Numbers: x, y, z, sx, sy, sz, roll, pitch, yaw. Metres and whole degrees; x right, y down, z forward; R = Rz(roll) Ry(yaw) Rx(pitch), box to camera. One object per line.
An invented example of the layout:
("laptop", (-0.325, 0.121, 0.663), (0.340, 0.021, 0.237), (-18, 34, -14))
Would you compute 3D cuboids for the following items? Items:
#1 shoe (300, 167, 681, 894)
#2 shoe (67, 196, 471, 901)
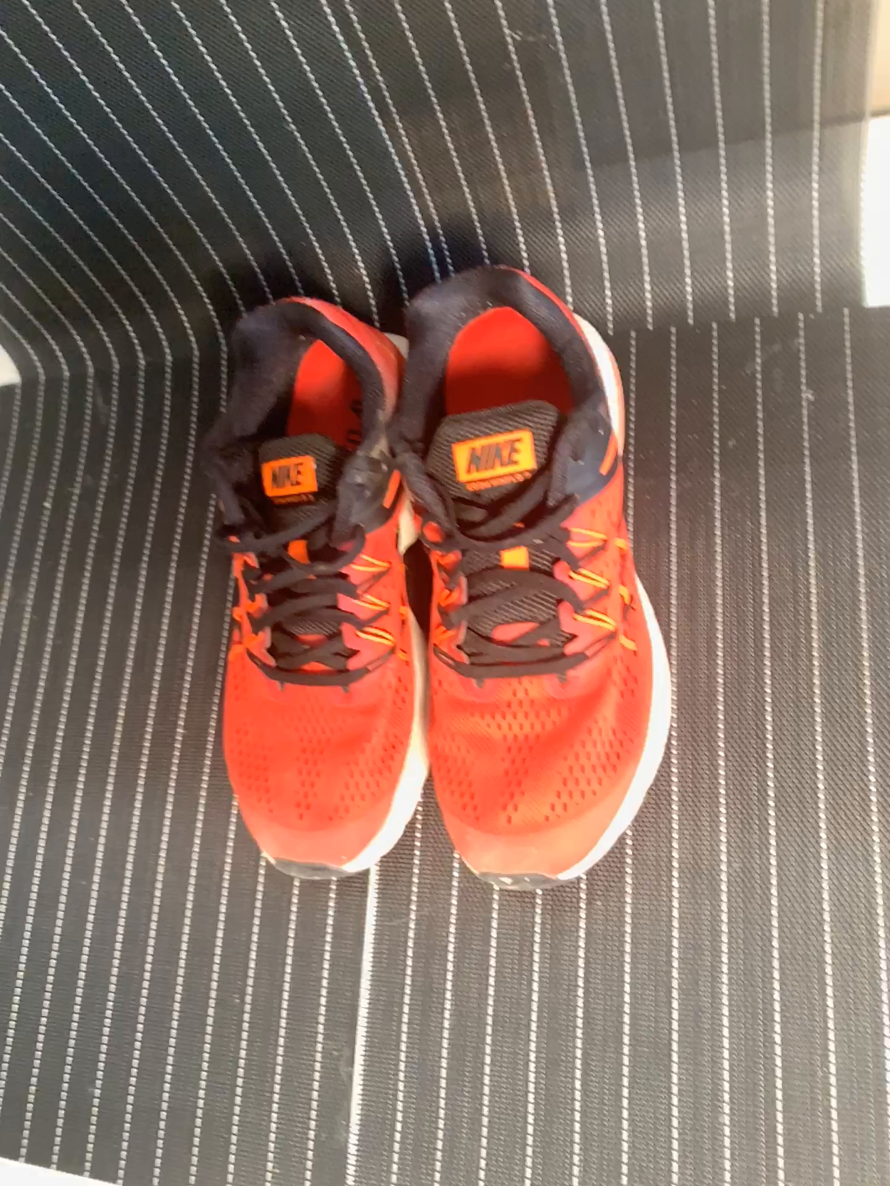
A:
("shoe", (0.025, -0.017, 0.389), (0.120, 0.110, 0.270), (-5, 73, 18))
("shoe", (-0.069, -0.017, 0.441), (0.120, 0.110, 0.300), (-2, 74, 19))
